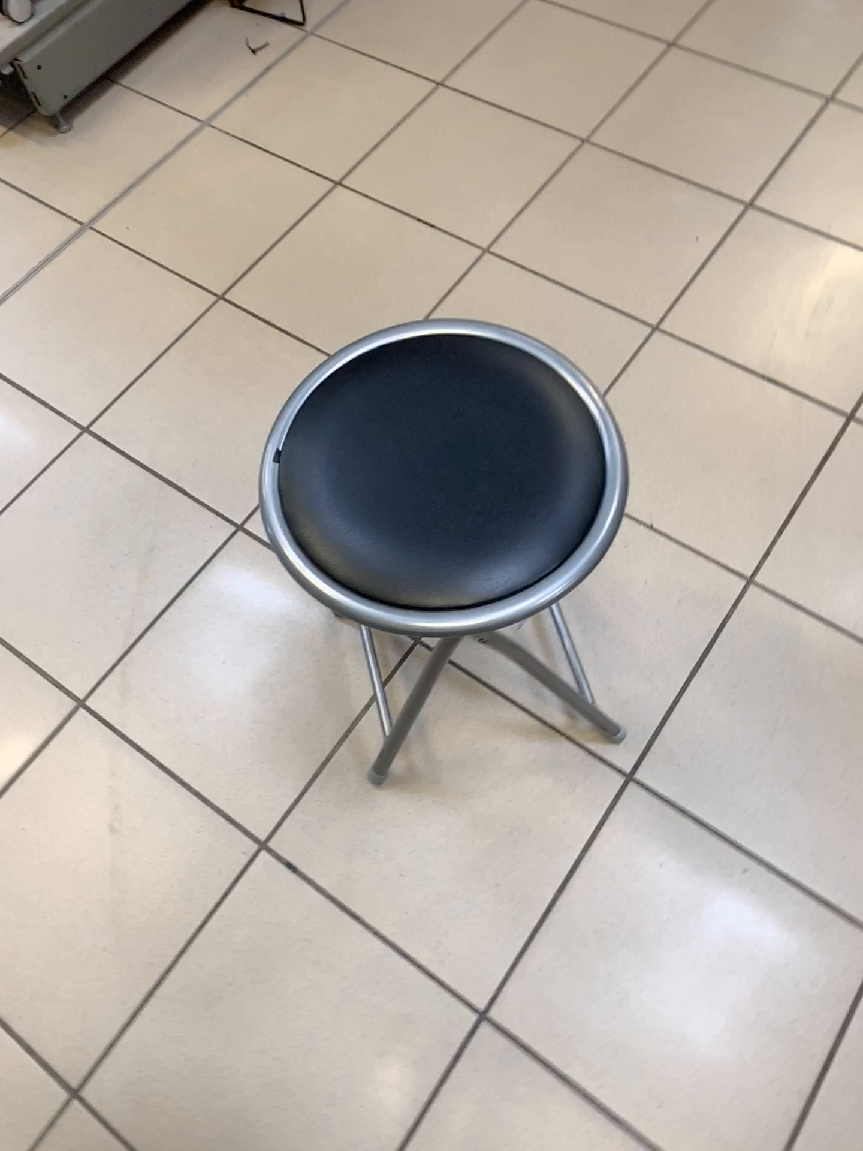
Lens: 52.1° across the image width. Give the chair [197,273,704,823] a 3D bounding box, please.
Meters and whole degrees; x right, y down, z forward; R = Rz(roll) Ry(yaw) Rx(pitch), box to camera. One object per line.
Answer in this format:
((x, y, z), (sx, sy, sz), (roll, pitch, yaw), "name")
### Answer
((0.010, 0.003, 0.880), (0.334, 0.402, 0.329), (-14, 63, -2), "chair")
